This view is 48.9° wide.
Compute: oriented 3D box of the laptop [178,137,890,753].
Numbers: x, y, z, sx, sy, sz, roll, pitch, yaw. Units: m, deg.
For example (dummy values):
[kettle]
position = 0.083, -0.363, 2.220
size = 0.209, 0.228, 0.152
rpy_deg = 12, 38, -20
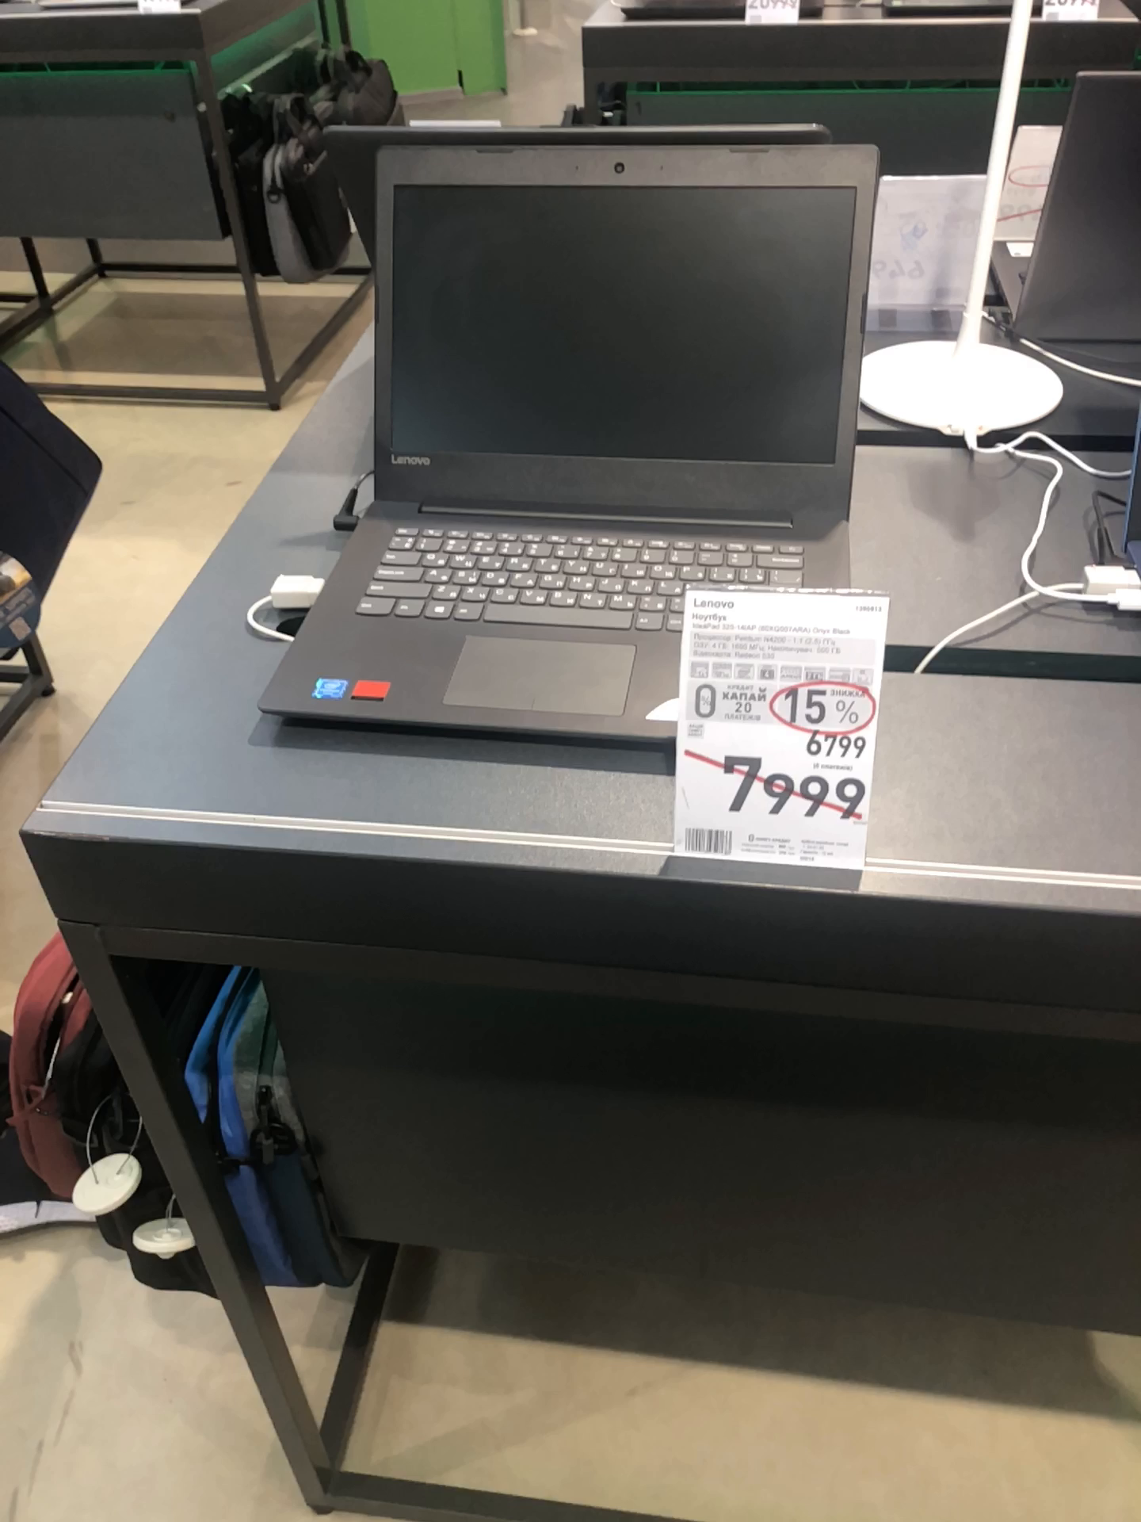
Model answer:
[laptop]
position = 0.009, -0.216, 0.770
size = 0.330, 0.205, 0.363
rpy_deg = 4, 41, 8
